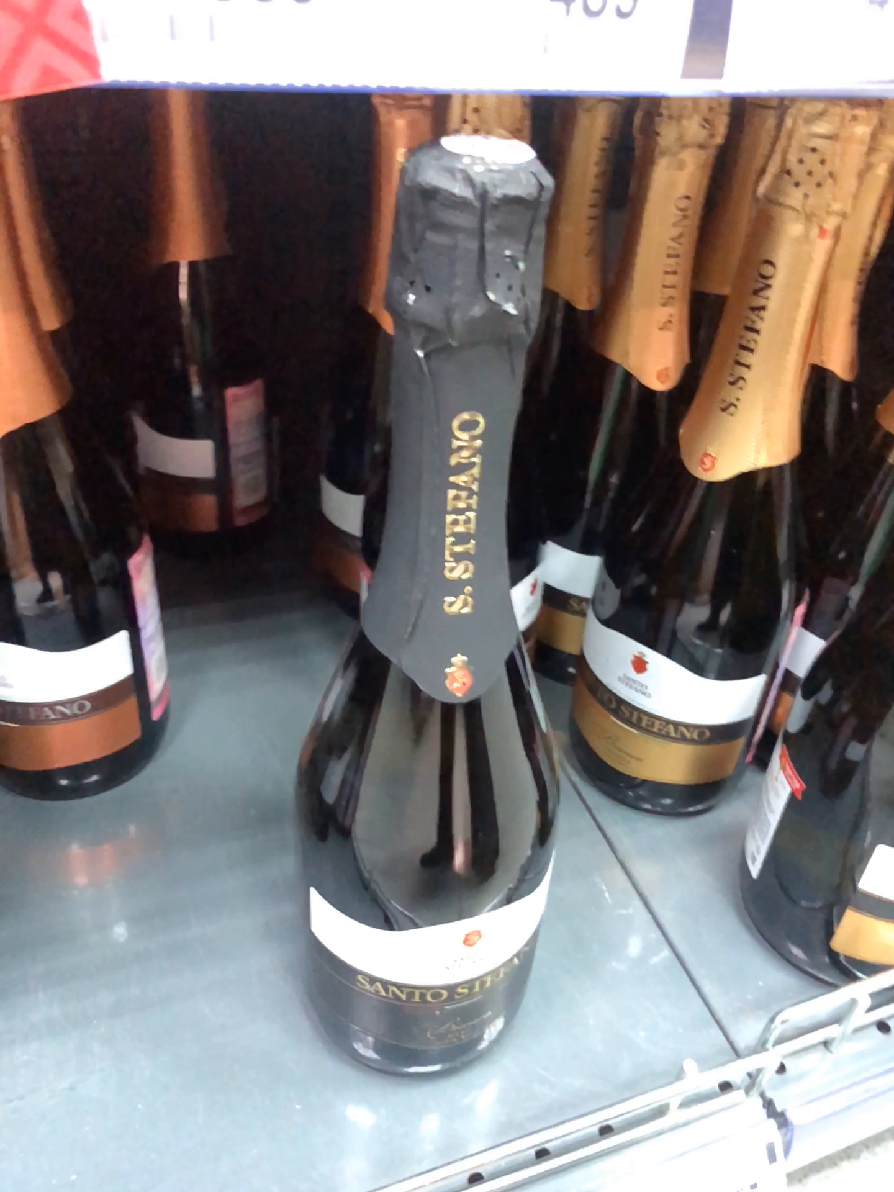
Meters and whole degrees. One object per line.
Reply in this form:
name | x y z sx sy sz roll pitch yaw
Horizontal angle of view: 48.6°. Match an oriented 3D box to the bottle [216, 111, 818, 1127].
bottle | 0.001 0.023 0.293 0.100 0.288 0.091 -10 38 -20
